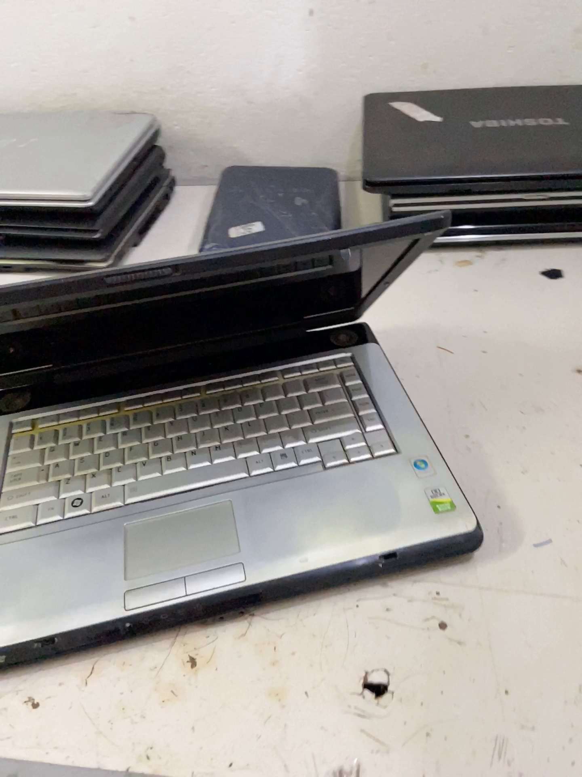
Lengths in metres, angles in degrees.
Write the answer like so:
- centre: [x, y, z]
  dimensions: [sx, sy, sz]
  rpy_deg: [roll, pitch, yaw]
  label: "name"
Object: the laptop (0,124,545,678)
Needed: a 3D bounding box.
- centre: [-0.079, -0.016, 0.413]
  dimensions: [0.356, 0.185, 0.258]
  rpy_deg: [-12, 42, -7]
  label: "laptop"
